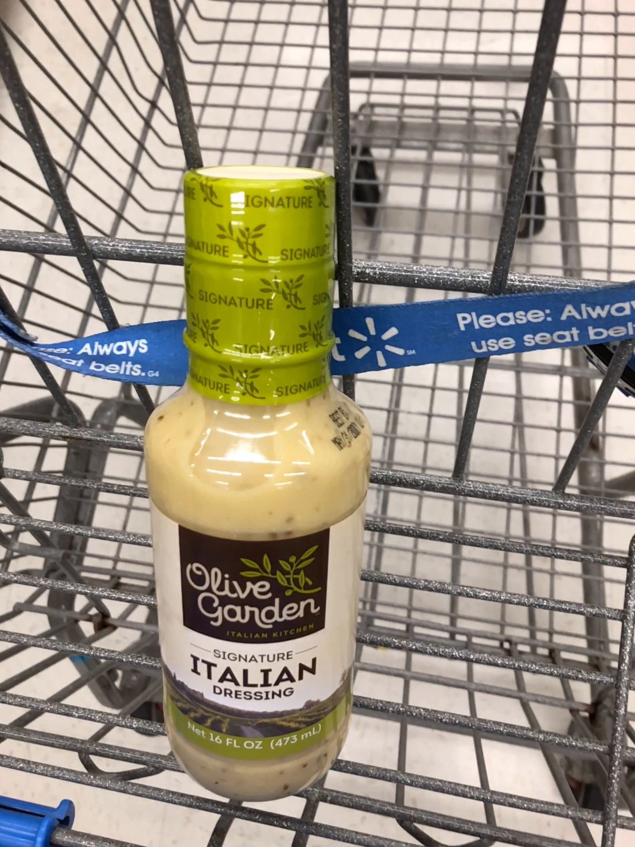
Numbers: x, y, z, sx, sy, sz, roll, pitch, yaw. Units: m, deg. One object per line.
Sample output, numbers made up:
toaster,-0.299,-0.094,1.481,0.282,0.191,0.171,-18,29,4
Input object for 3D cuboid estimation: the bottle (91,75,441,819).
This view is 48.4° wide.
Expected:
bottle,-0.018,0.013,0.226,0.080,0.070,0.210,1,107,-5
